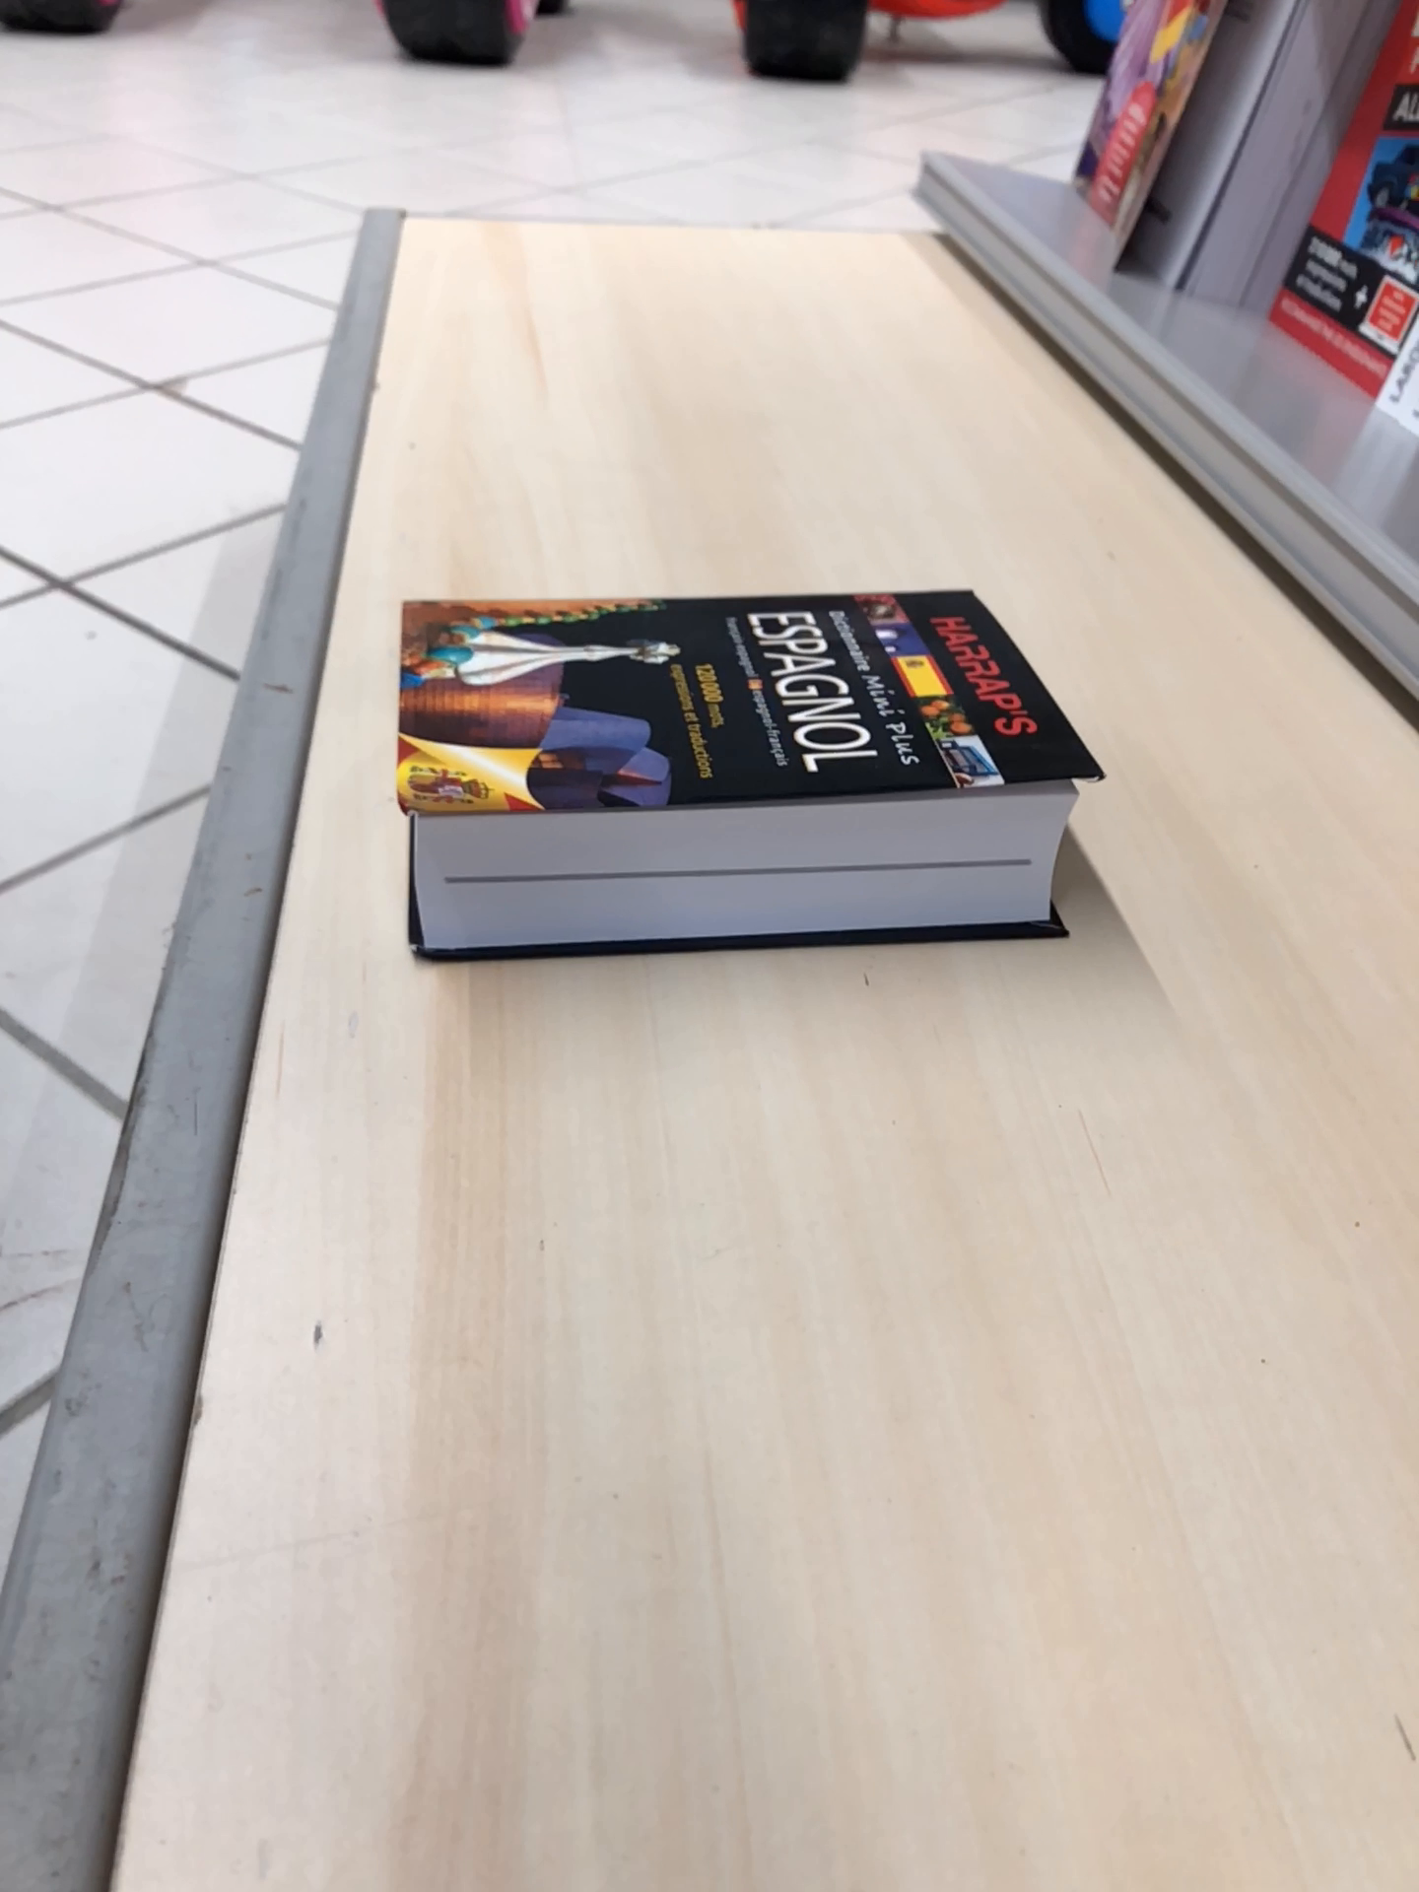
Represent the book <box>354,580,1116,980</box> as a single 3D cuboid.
[{"bbox_3d":[0.000,-0.042,0.351,0.145,0.038,0.103,-3,36,-7],"label":"book"}]
